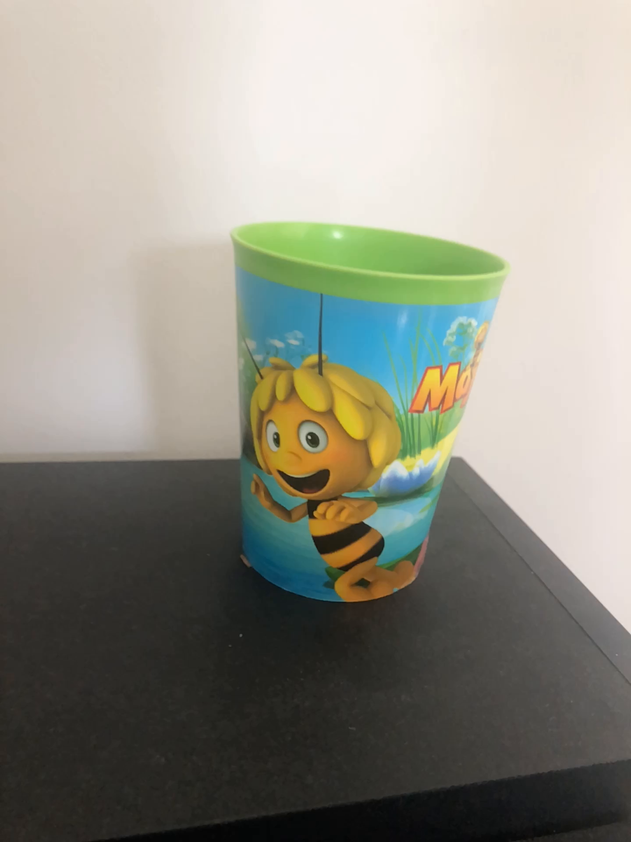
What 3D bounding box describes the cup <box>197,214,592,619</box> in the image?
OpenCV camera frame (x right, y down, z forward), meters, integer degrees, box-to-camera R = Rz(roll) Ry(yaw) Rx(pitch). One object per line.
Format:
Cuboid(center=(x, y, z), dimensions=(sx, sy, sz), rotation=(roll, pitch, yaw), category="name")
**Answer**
Cuboid(center=(0.014, -0.008, 0.214), dimensions=(0.080, 0.090, 0.080), rotation=(6, 22, -2), category="cup")
